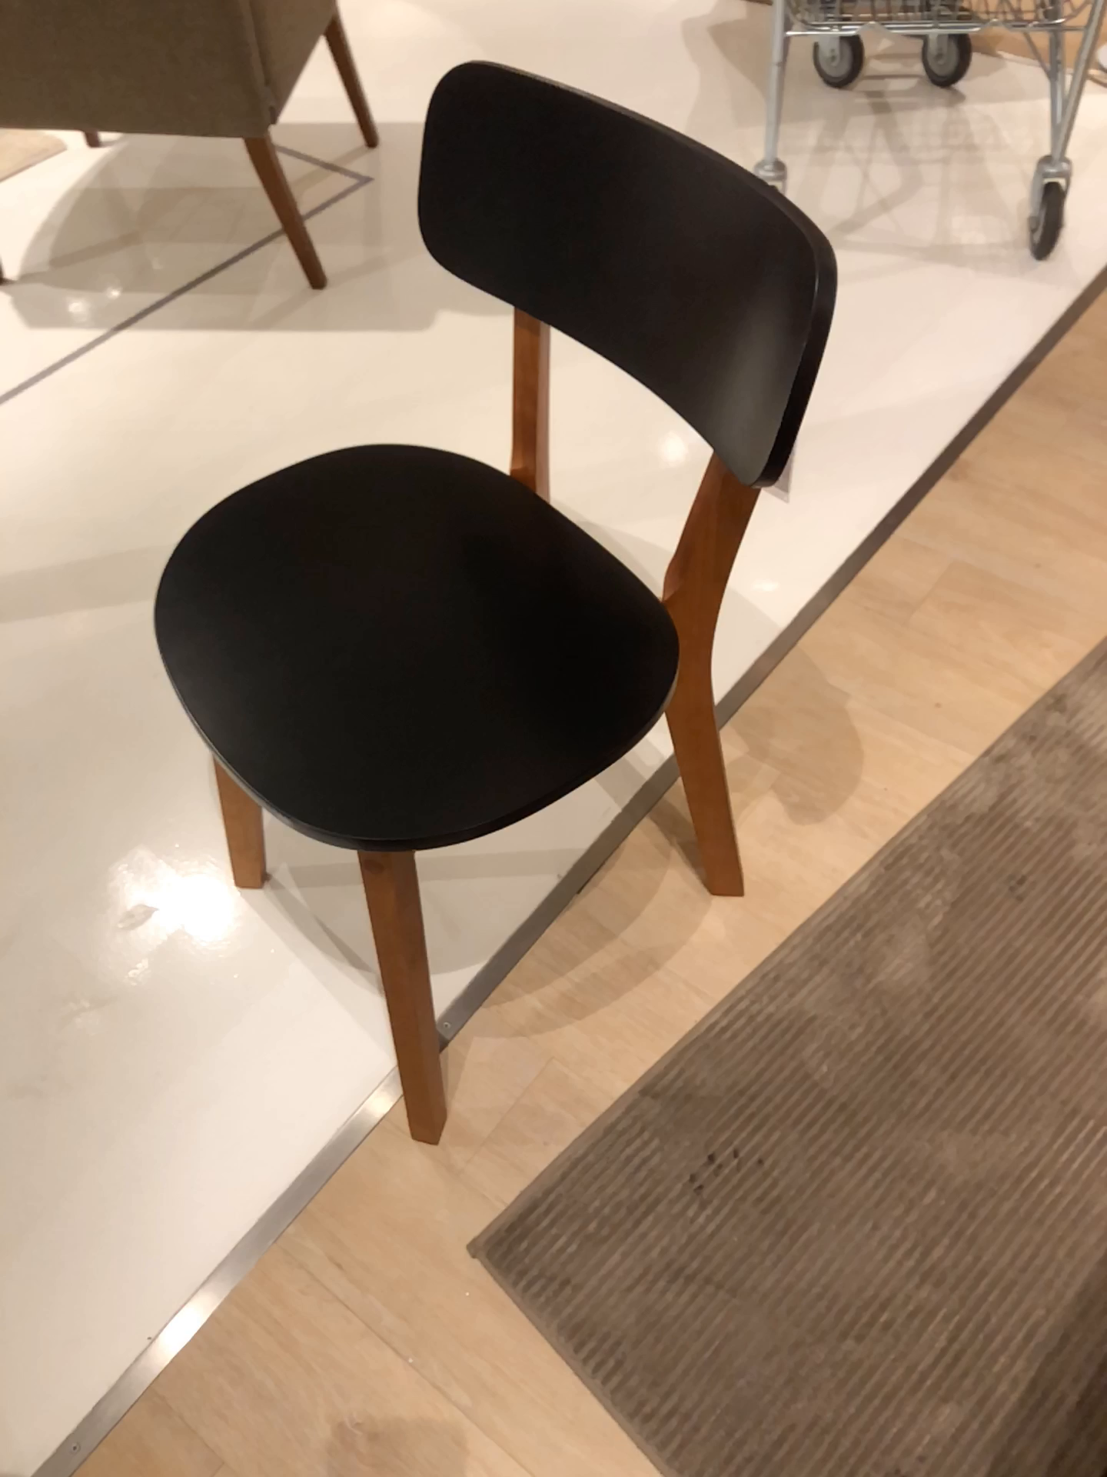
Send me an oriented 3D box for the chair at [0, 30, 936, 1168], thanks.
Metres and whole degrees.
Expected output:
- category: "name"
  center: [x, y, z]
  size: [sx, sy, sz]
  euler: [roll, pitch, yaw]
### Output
- category: "chair"
  center: [-0.077, -0.092, 1.049]
  size: [0.481, 0.705, 0.462]
  euler: [-33, 55, -21]
